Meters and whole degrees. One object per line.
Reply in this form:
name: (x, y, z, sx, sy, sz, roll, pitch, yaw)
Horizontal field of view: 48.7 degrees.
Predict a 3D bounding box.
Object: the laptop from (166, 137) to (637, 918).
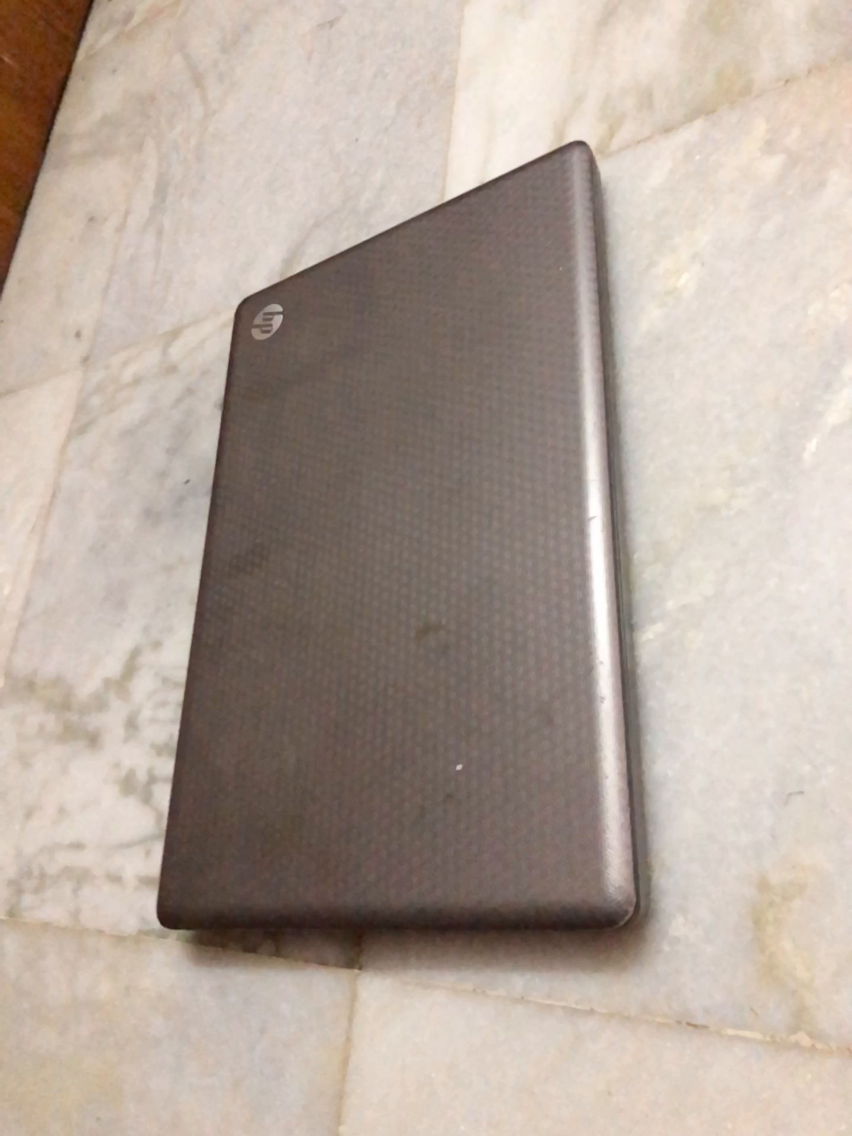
laptop: (-0.023, -0.026, 0.494, 0.253, 0.003, 0.394, -13, 62, 31)
